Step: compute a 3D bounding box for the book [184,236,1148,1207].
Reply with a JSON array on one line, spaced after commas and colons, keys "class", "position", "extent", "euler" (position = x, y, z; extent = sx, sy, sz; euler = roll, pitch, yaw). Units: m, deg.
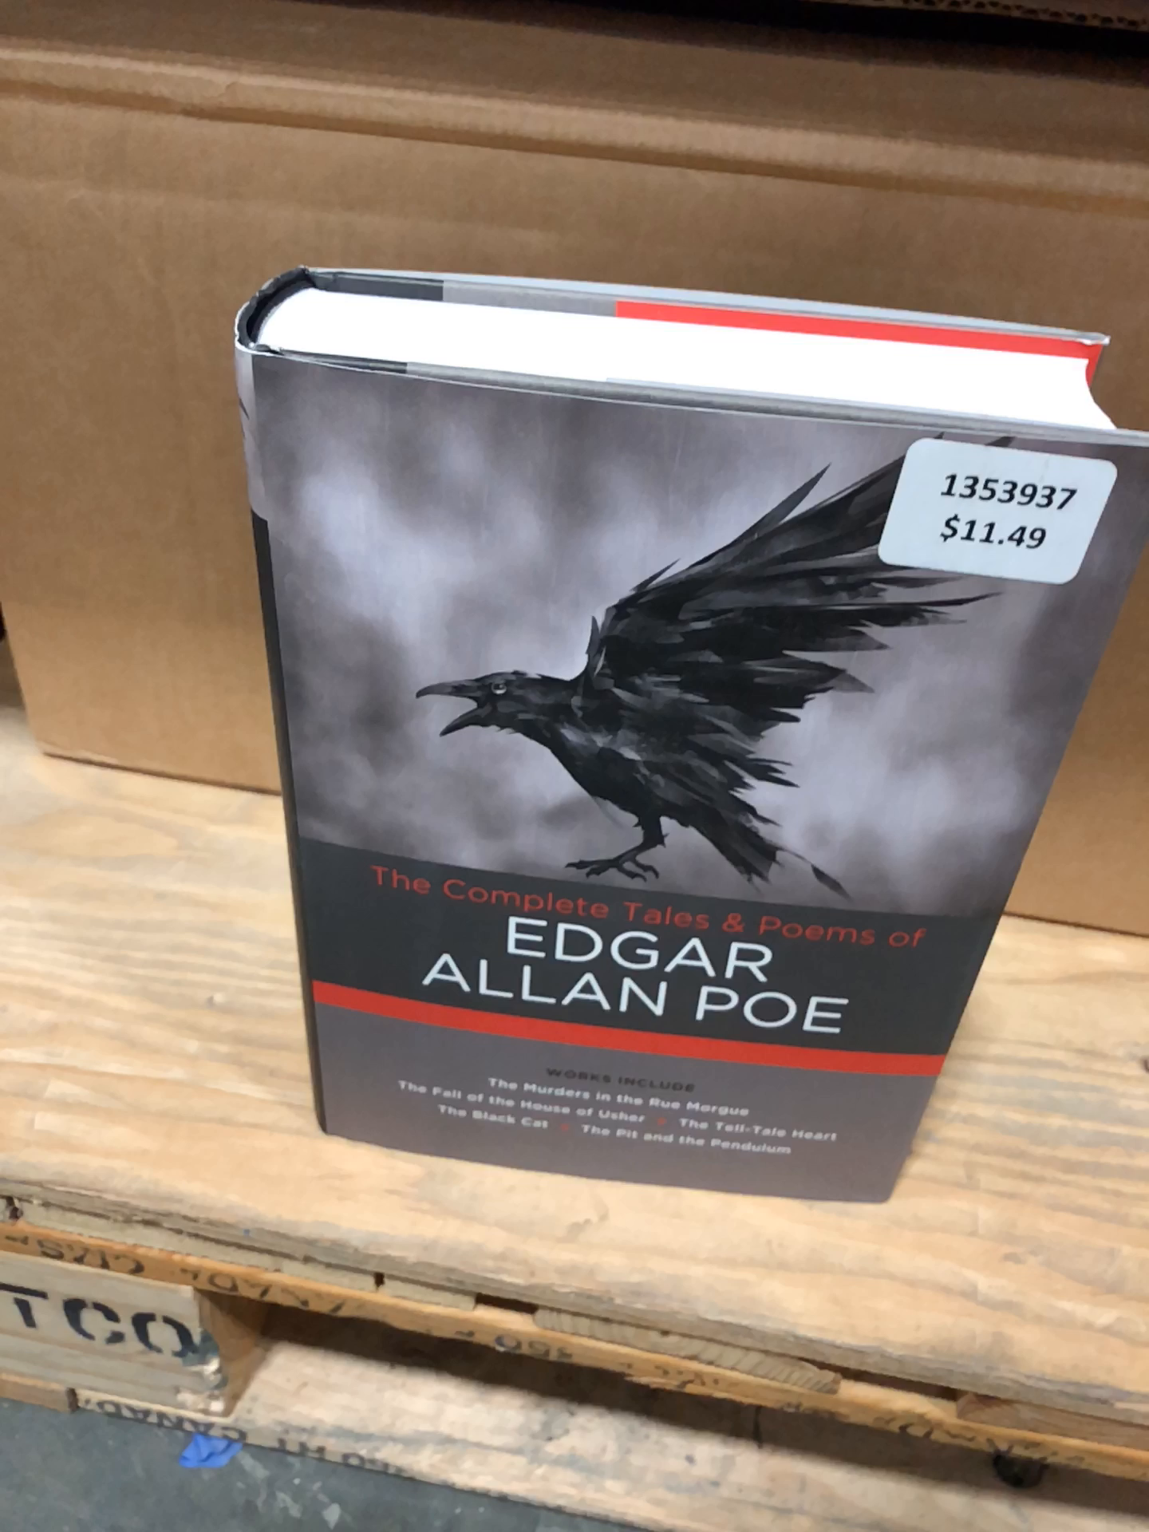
[{"class": "book", "position": [0.013, 0.009, 0.318], "extent": [0.171, 0.240, 0.054], "euler": [6, 40, 2]}]
